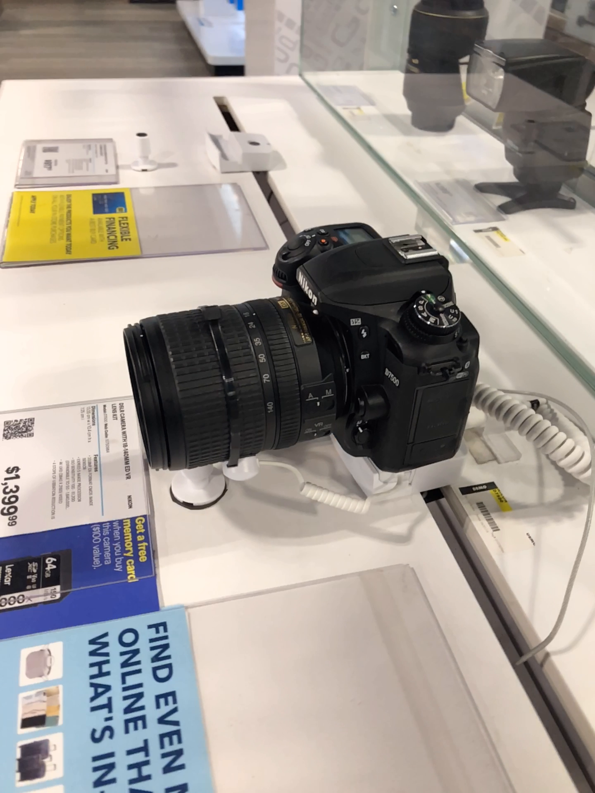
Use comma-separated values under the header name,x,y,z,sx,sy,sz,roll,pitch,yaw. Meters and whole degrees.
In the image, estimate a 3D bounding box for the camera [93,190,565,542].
name,x,y,z,sx,sy,sz,roll,pitch,yaw
camera,0.005,-0.029,0.345,0.190,0.089,0.141,-11,41,-17
